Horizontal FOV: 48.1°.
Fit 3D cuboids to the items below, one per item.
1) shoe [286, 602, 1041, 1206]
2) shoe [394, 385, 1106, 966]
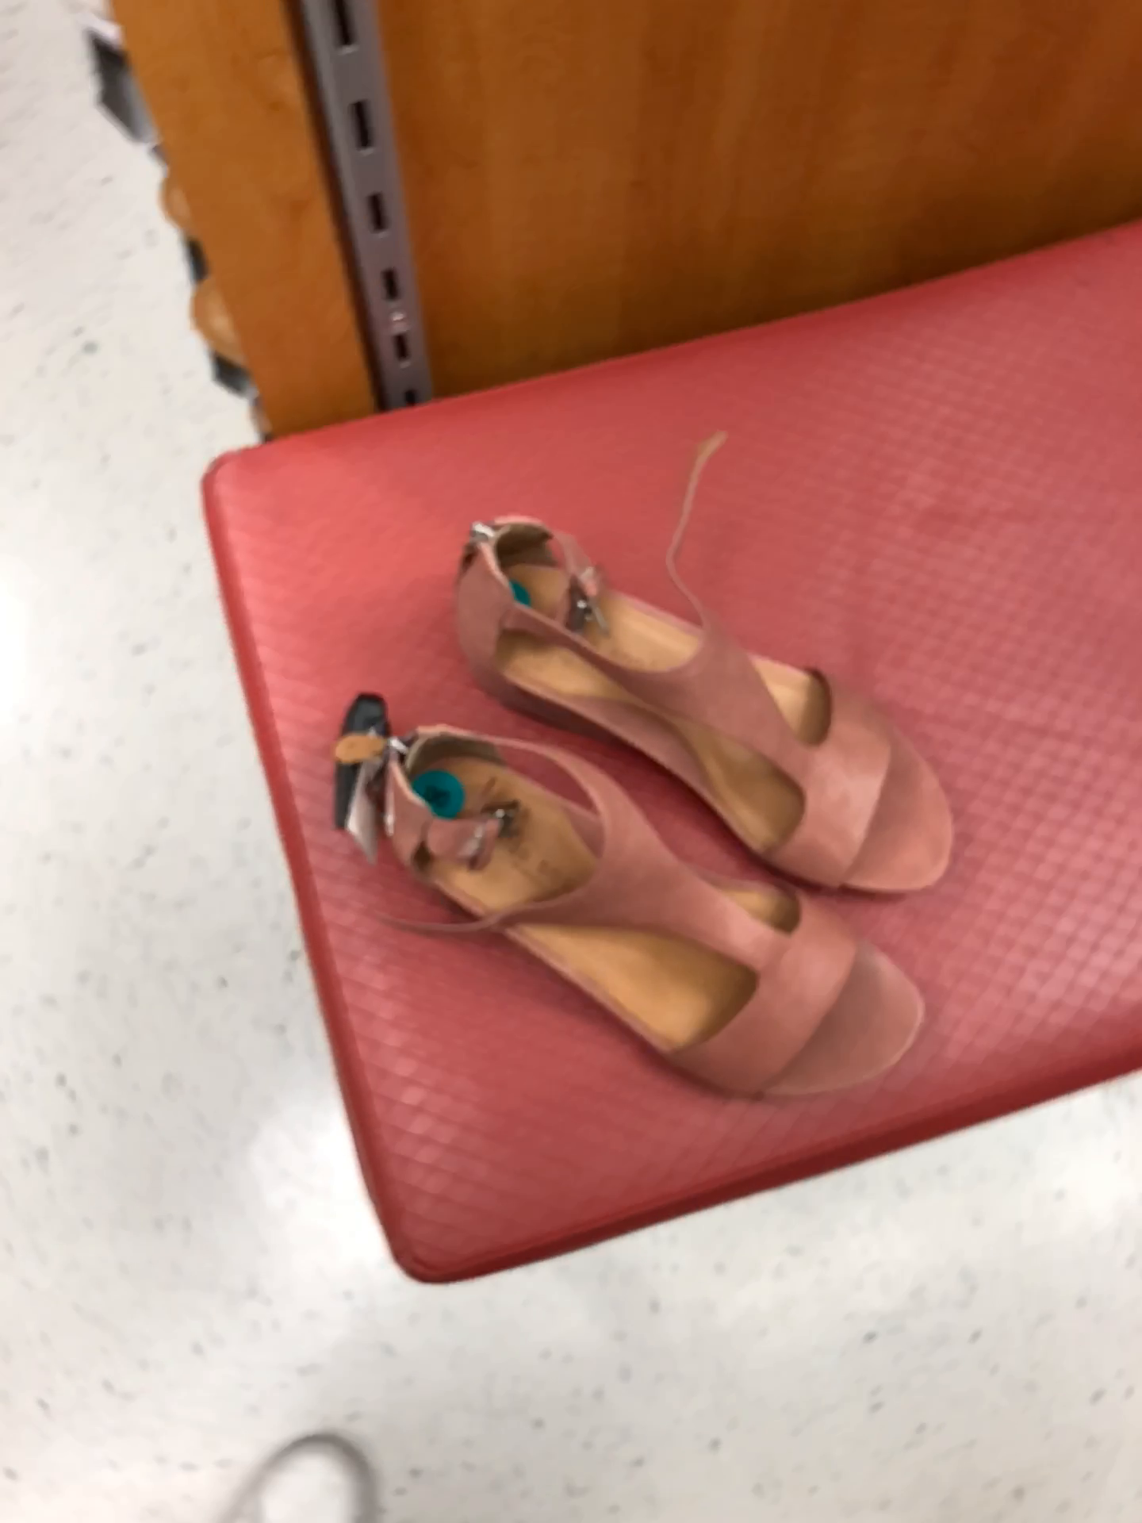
[{"bbox_3d":[0.031,0.063,0.533,0.263,0.126,0.103,30,76,5],"label":"shoe"},{"bbox_3d":[0.067,-0.030,0.555,0.261,0.116,0.105,30,76,5],"label":"shoe"}]
